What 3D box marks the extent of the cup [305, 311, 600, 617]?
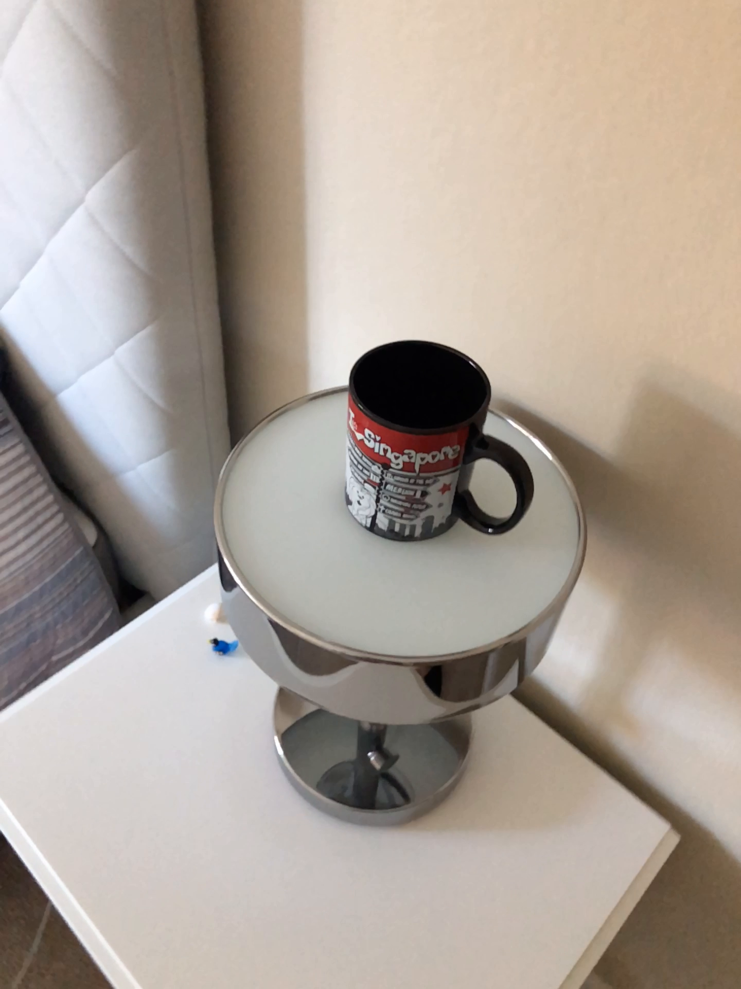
[{"bbox_3d":[0.042,-0.020,0.474,0.130,0.100,0.090,27,51,19],"label":"cup"}]
